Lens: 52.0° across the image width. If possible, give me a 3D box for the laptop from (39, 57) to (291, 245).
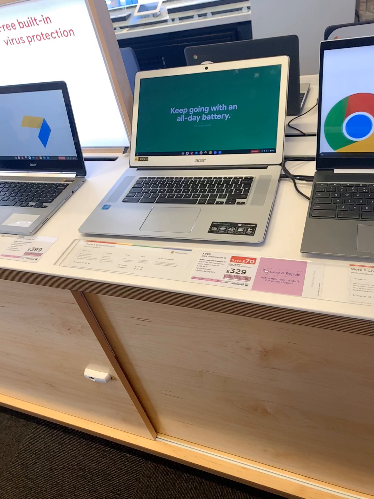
[{"bbox_3d":[-0.001,-0.225,0.808,0.375,0.168,0.433,4,42,20],"label":"laptop"}]
